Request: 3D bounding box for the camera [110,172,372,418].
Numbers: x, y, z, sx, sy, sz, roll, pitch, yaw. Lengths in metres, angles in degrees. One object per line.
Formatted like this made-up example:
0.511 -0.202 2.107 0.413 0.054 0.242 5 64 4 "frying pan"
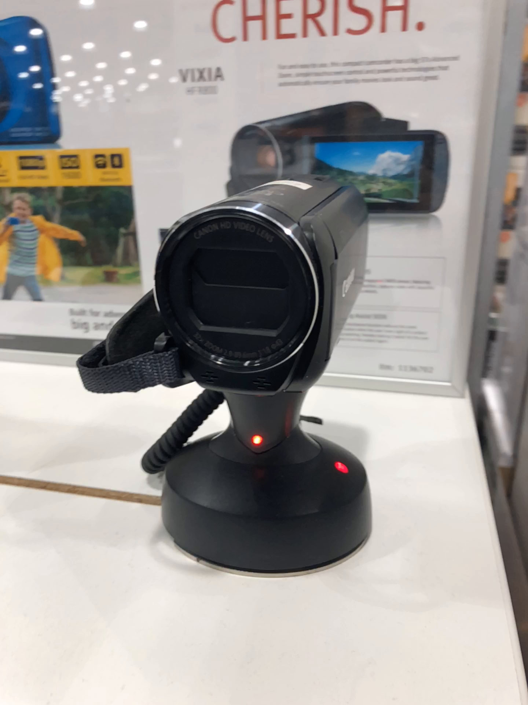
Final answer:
0.003 -0.034 0.227 0.060 0.060 0.130 4 21 15 "camera"
